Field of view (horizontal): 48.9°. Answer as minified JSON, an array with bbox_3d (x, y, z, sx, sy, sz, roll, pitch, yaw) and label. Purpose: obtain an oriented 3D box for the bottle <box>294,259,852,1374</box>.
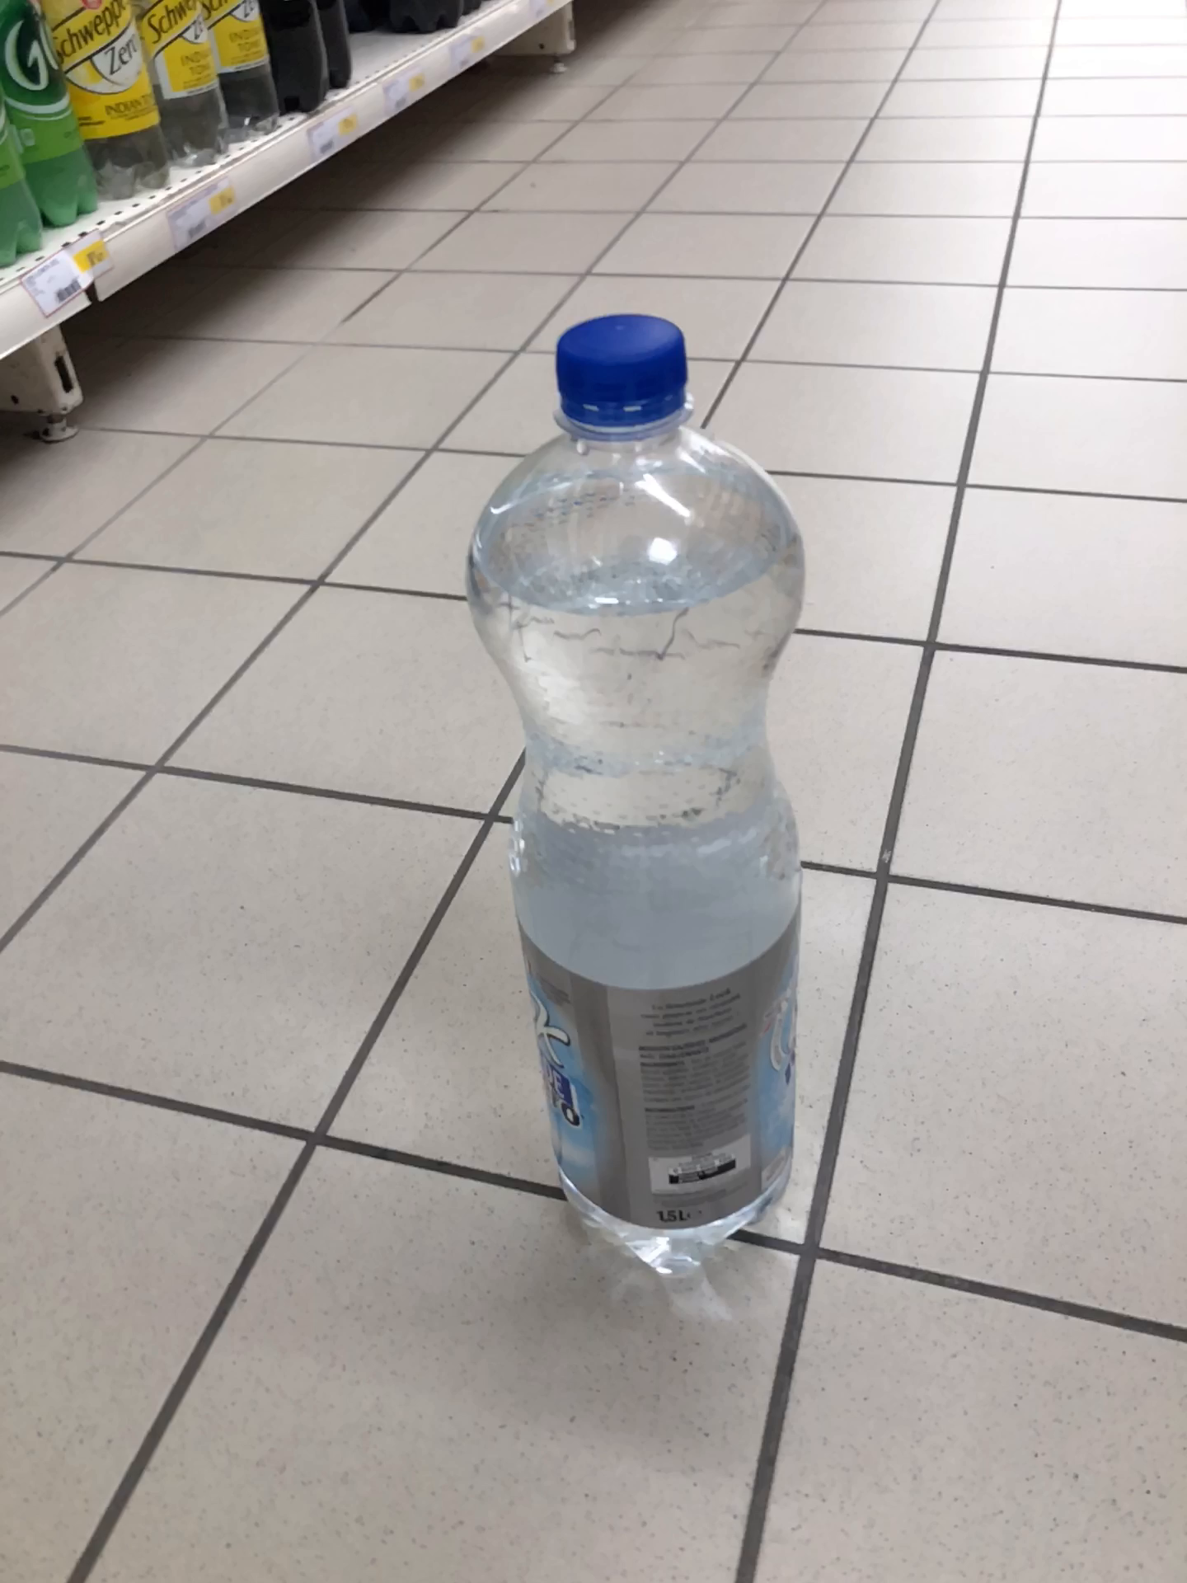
[{"bbox_3d":[0.002,0.031,0.395,0.100,0.328,0.100,-3,39,3],"label":"bottle"}]
